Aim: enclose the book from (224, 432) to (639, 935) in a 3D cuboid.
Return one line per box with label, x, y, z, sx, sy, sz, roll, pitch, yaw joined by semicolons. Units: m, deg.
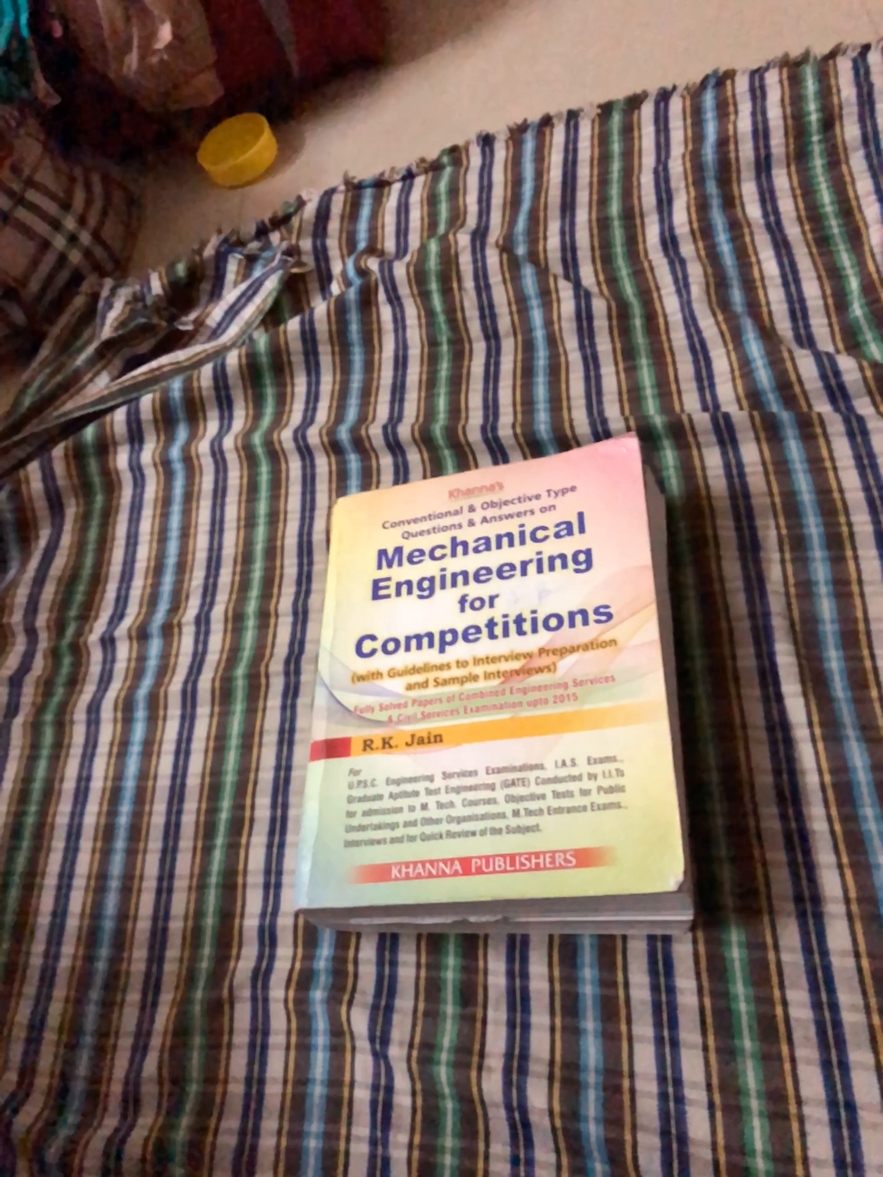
book;0.001;0.056;0.597;0.210;0.077;0.280;-7;58;18
